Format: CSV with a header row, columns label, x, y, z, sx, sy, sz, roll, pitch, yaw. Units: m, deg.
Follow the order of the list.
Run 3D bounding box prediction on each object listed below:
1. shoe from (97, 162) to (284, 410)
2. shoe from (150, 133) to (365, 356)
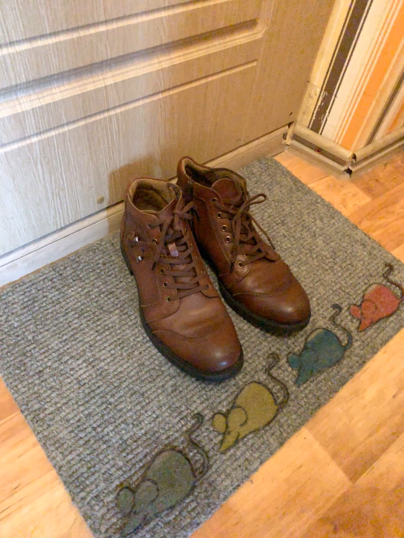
label,x,y,z,sx,sy,sz,roll,pitch,yaw
shoe,-0.031,0.013,0.518,0.110,0.140,0.261,-18,58,-20
shoe,0.055,-0.040,0.566,0.110,0.140,0.270,-32,63,-27
